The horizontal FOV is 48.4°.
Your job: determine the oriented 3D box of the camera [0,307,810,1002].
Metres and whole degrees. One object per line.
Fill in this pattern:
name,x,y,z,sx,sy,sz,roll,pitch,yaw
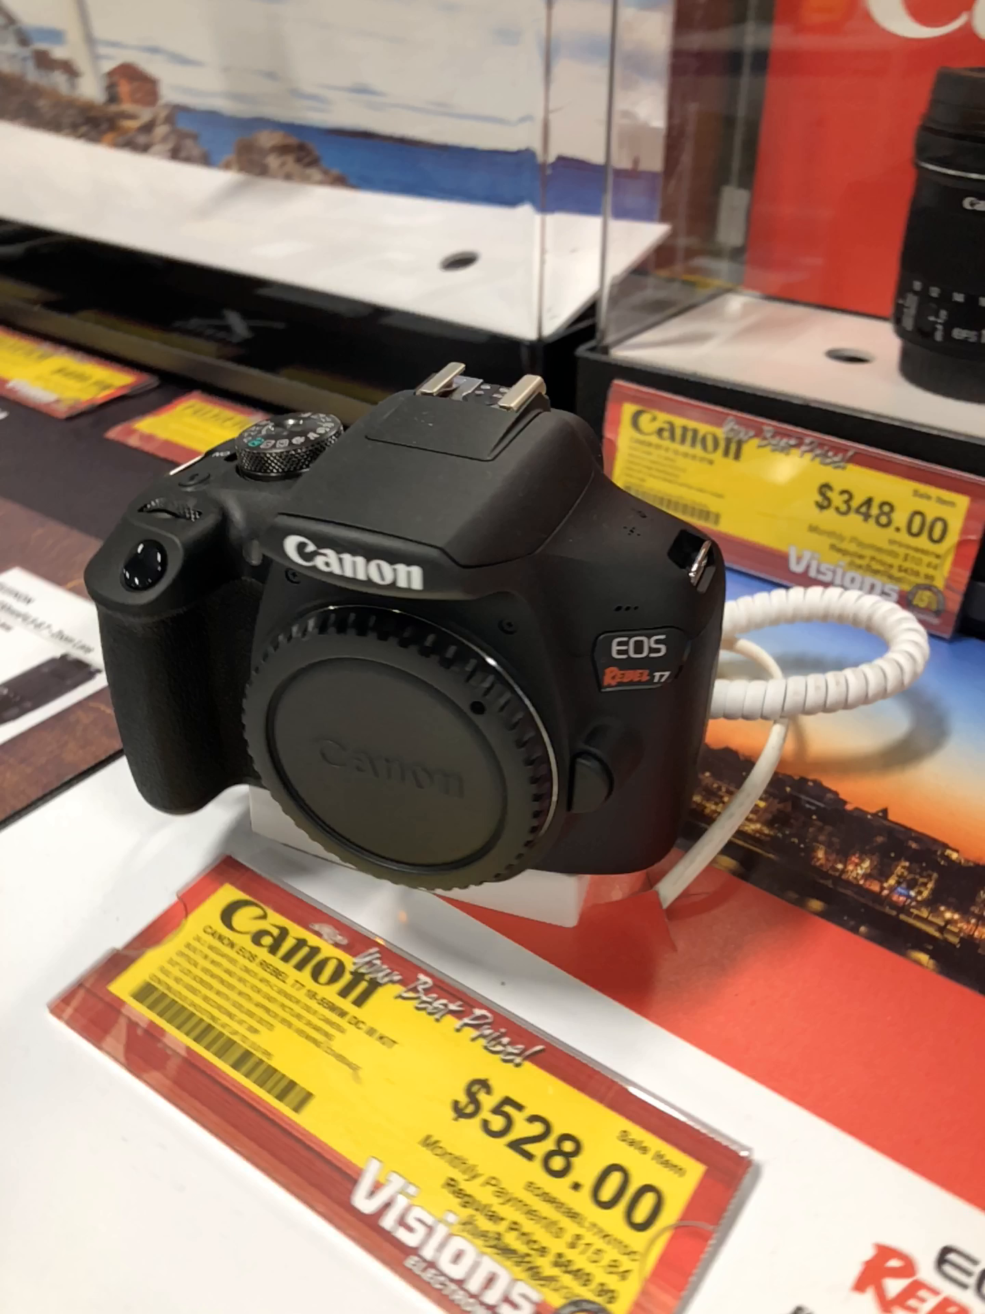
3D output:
camera,-0.013,-0.011,0.235,0.130,0.089,0.091,13,35,19
